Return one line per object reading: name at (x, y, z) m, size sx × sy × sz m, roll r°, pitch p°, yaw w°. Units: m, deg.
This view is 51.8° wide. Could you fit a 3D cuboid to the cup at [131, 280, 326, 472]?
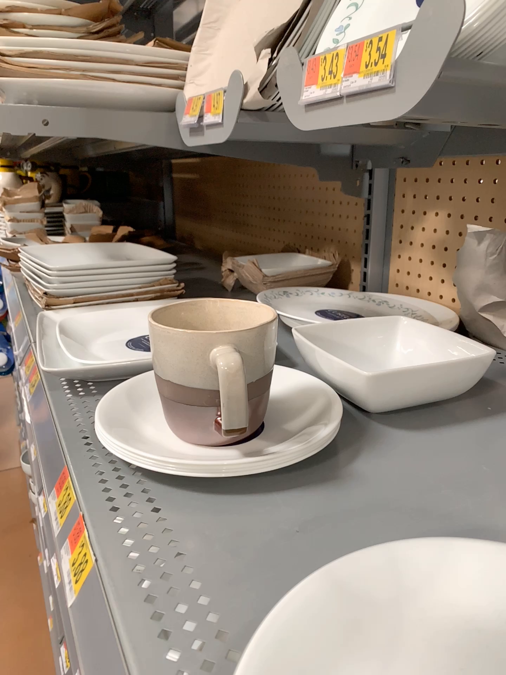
cup at (-0.026, 0.018, 0.413) m, size 0.107 × 0.096 × 0.138 m, roll -8°, pitch 19°, yaw -22°
